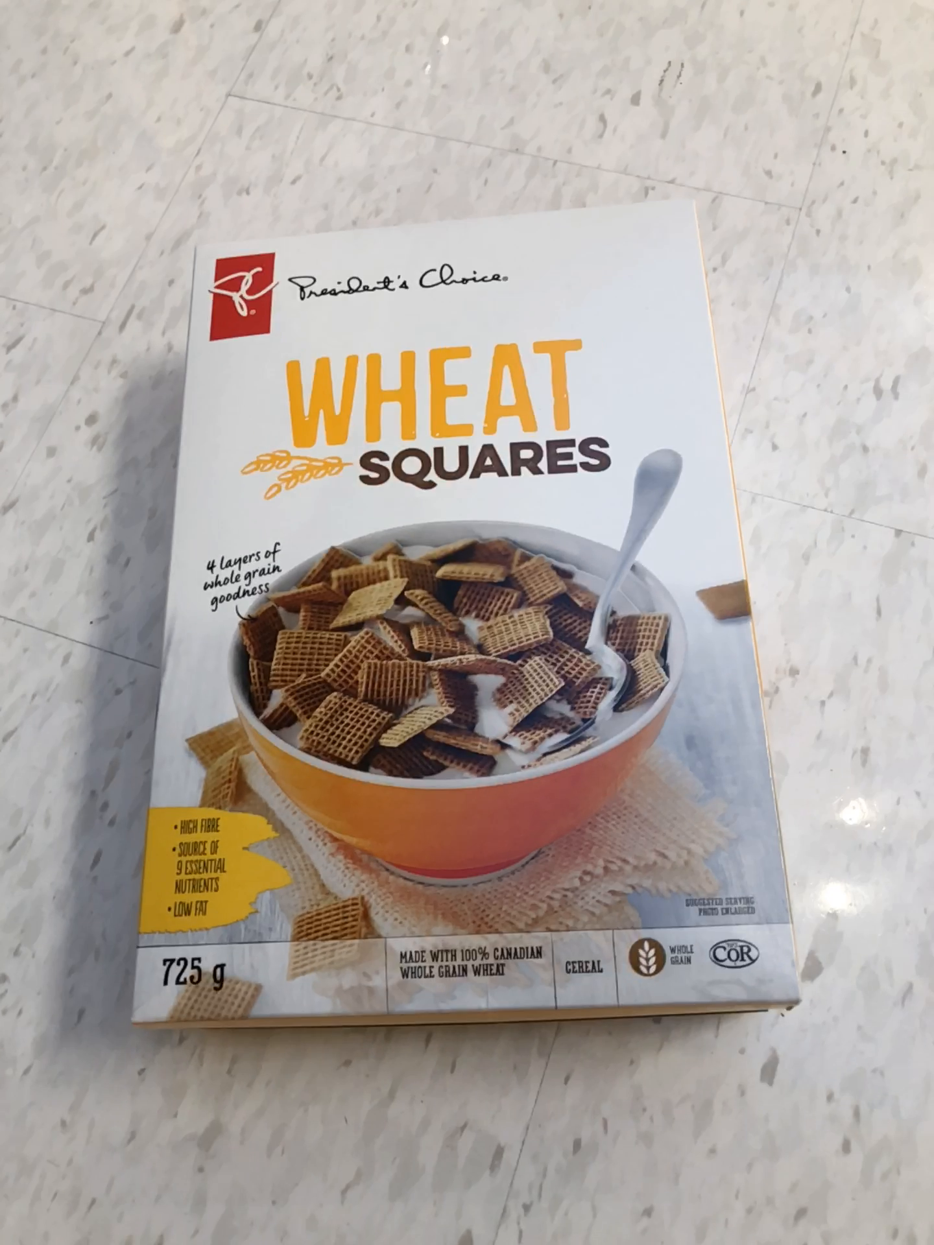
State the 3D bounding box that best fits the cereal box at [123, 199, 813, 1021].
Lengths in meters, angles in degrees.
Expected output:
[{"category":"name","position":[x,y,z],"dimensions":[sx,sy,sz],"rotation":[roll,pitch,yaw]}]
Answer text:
[{"category":"cereal box","position":[-0.003,-0.009,0.388],"dimensions":[0.200,0.080,0.291],"rotation":[-3,68,4]}]
